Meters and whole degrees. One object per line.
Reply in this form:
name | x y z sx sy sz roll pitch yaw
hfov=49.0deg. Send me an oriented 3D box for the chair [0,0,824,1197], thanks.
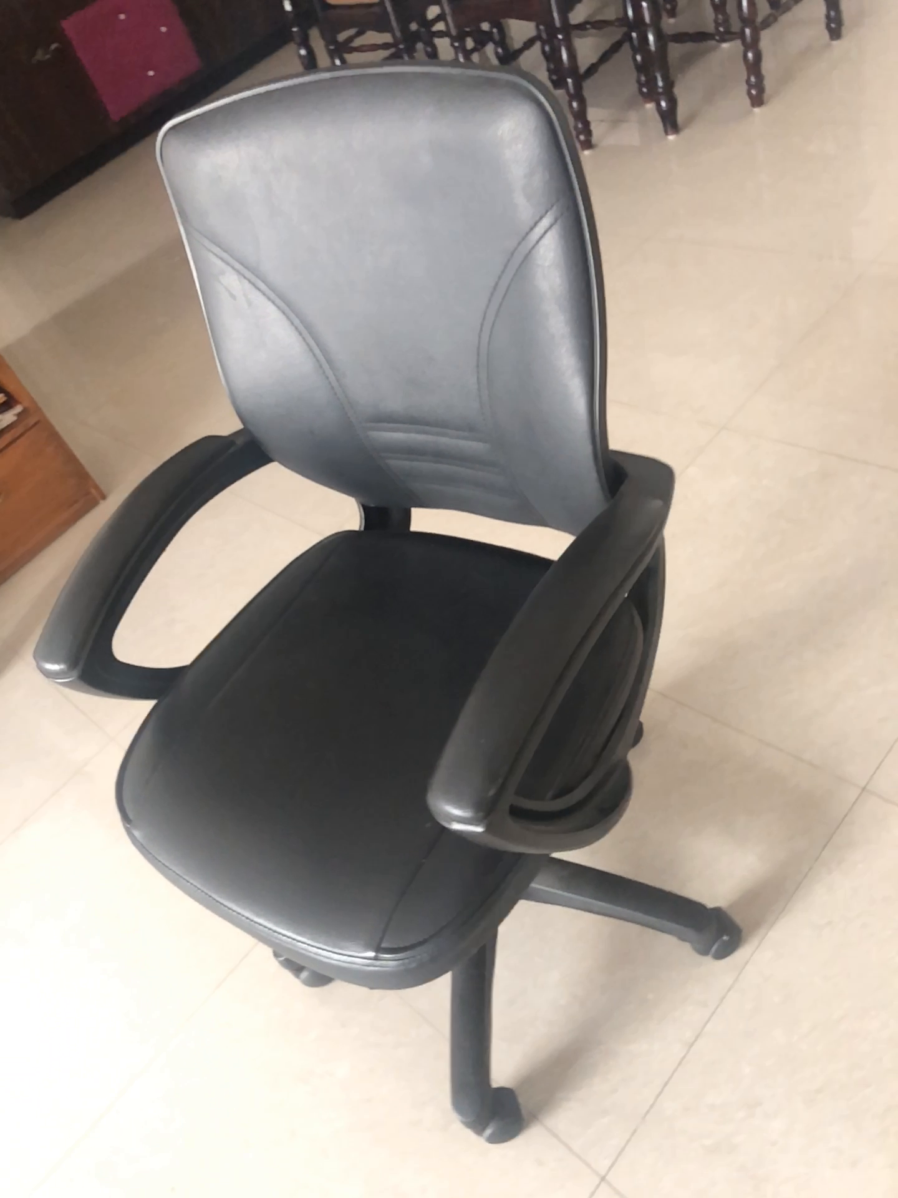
chair | -0.104 0.059 1.029 0.703 0.953 0.632 15 55 36
